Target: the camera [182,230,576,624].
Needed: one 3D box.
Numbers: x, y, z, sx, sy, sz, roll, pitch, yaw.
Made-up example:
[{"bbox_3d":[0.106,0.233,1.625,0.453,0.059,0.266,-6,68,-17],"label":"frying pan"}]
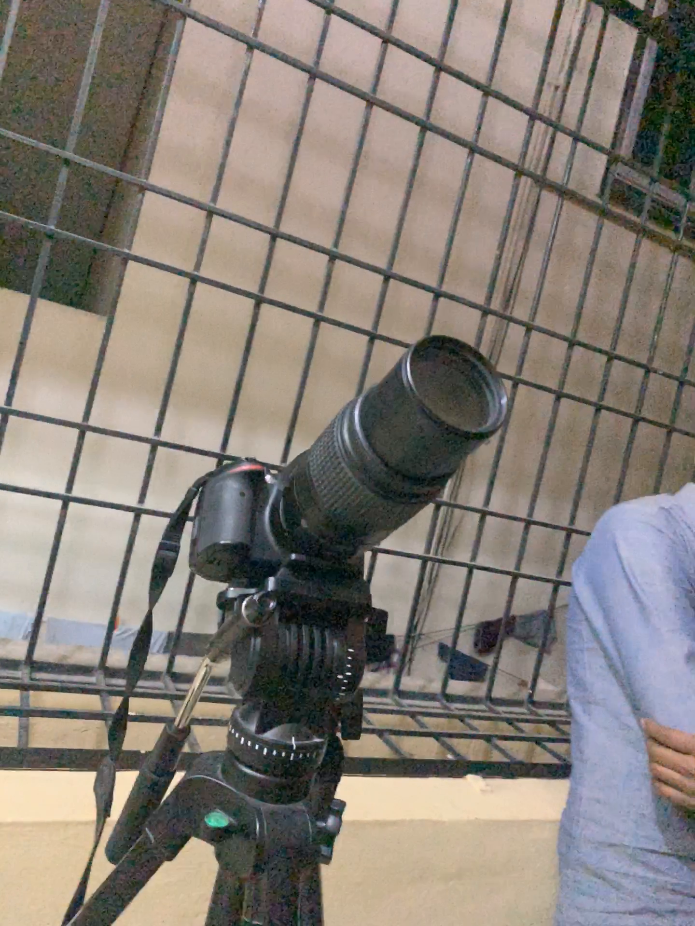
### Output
[{"bbox_3d":[0.001,-0.002,0.419,0.136,0.101,0.209,13,-39,-21],"label":"camera"}]
